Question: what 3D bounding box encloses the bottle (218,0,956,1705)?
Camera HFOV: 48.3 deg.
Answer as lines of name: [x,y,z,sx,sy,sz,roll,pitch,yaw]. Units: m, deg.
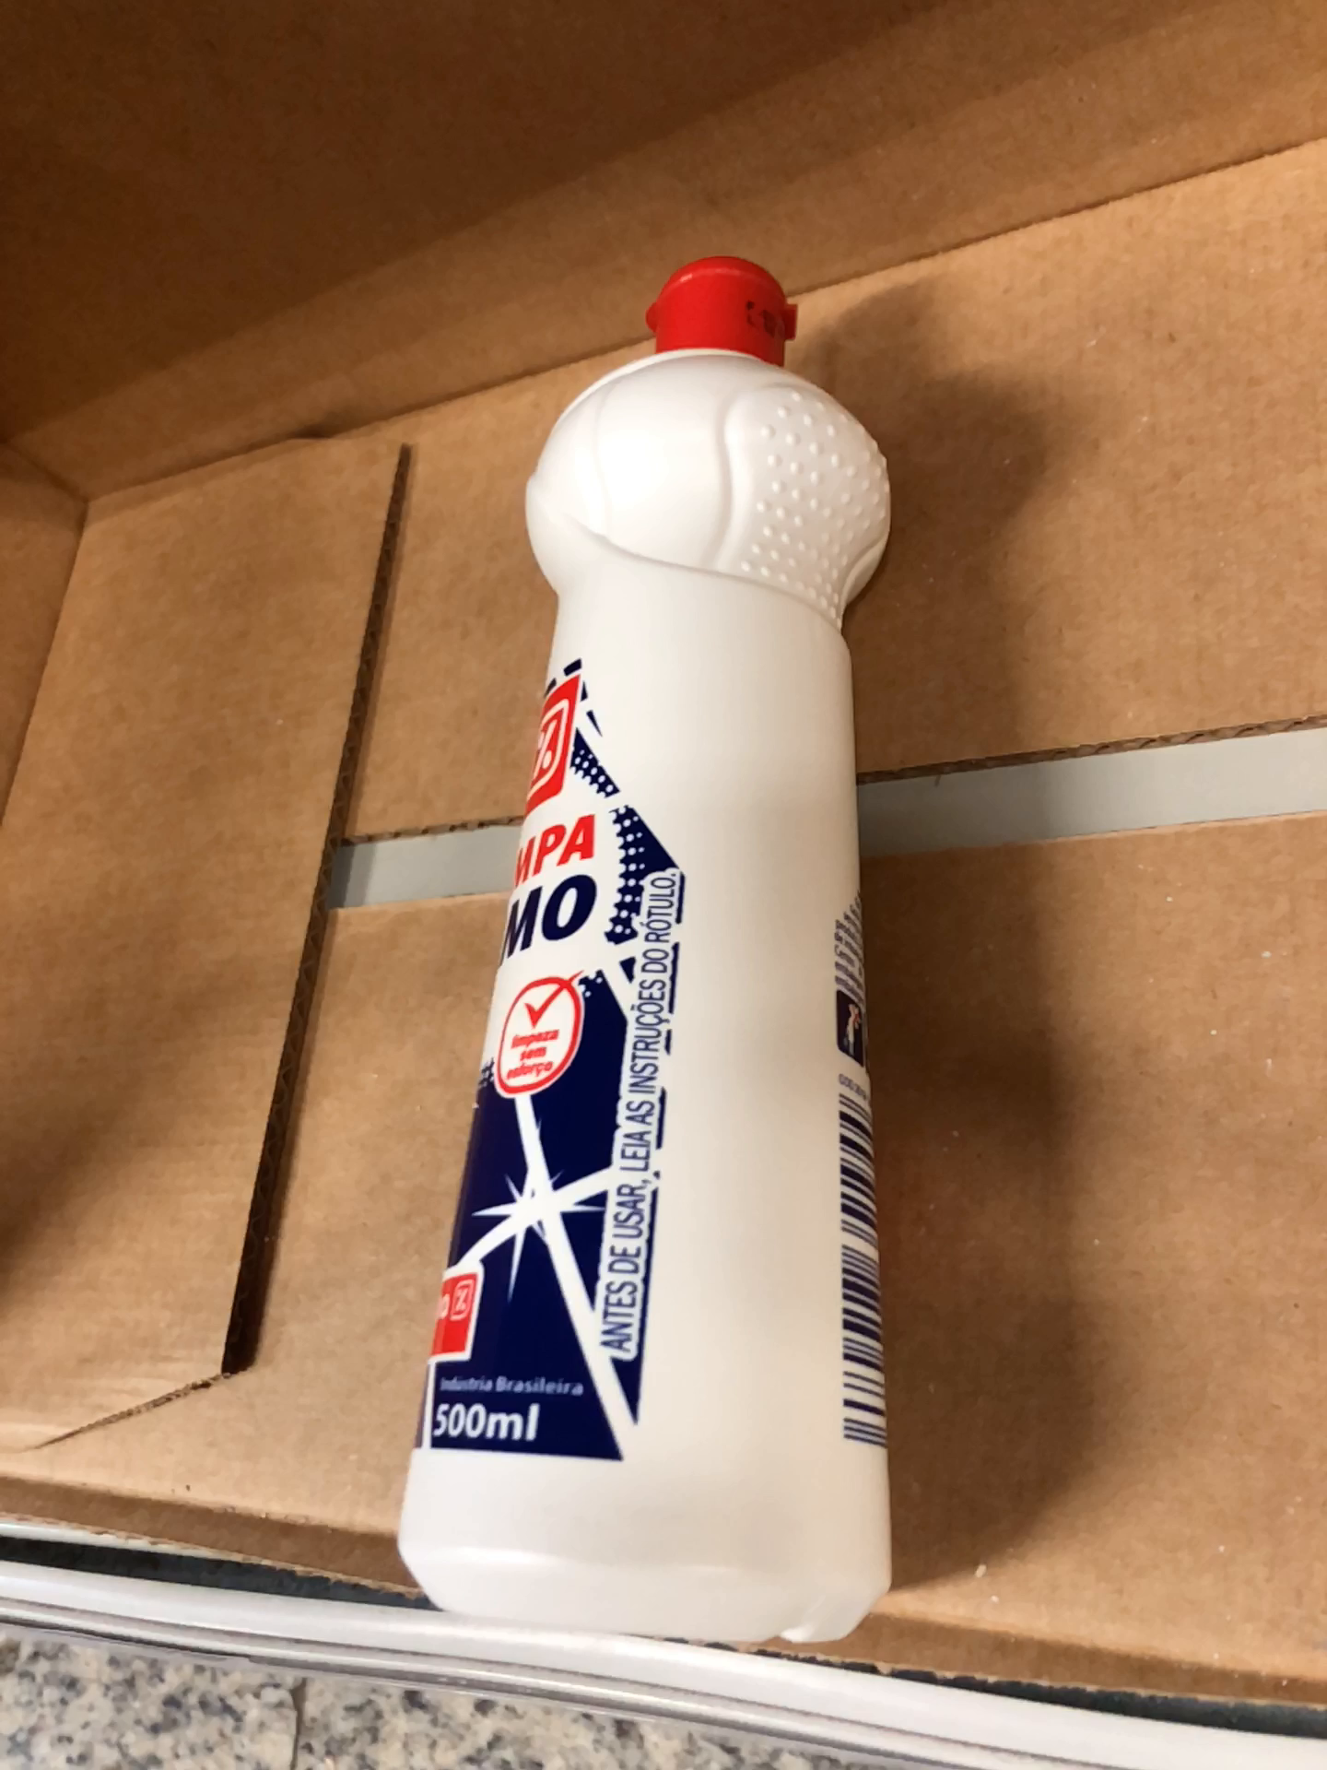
bottle: [0.000,-0.019,0.246,0.080,0.060,0.261,-7,66,26]
